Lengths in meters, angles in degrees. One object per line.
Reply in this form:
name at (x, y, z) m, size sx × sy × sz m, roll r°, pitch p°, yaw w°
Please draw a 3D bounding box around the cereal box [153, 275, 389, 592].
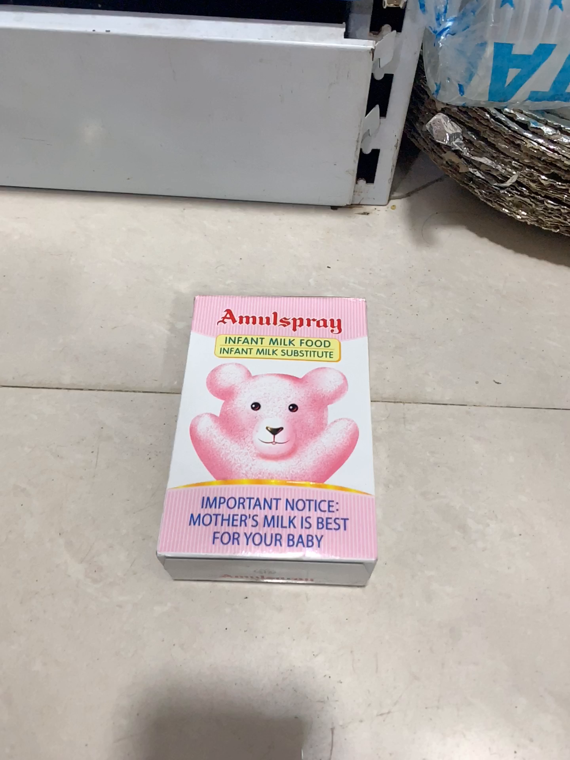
cereal box at (-0.002, 0.021, 0.281) m, size 0.090 × 0.050 × 0.140 m, roll 3°, pitch 59°, yaw 1°
